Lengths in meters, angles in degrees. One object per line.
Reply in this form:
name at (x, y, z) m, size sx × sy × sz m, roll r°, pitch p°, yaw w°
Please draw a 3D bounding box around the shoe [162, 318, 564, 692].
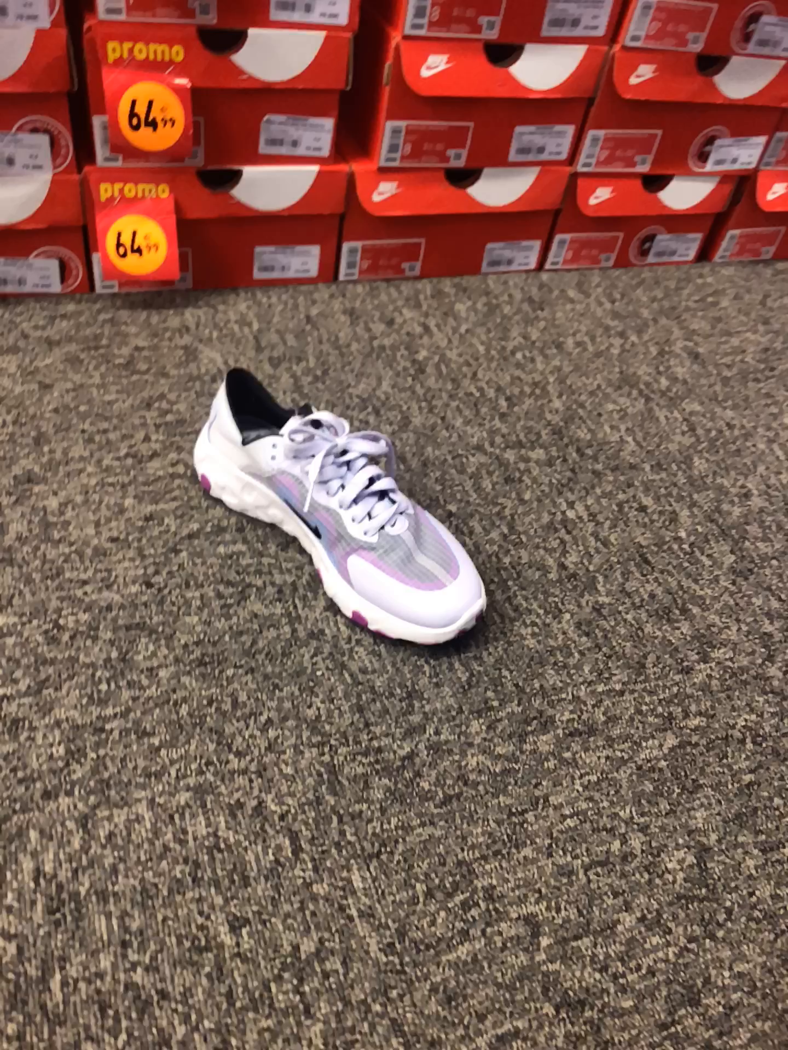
shoe at (-0.031, -0.023, 0.592) m, size 0.260 × 0.099 × 0.101 m, roll 36°, pitch 50°, yaw 22°
